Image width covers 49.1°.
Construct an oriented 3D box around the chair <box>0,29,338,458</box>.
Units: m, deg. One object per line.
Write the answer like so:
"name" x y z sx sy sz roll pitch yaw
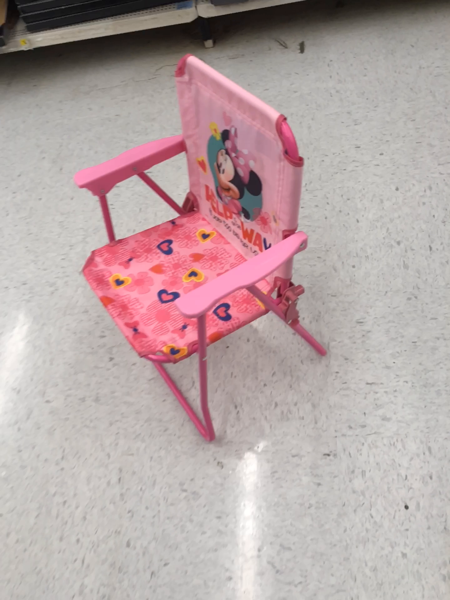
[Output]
"chair" -0.073 -0.058 0.798 0.340 0.489 0.361 -35 57 -9
